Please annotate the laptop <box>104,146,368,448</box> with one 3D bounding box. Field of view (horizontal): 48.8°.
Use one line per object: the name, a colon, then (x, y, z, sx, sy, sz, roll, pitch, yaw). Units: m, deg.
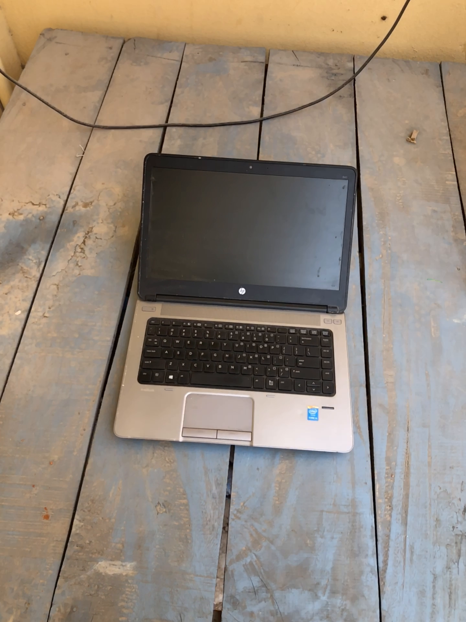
laptop: (0.016, -0.032, 0.736, 0.306, 0.123, 0.390, 4, 62, 2)
